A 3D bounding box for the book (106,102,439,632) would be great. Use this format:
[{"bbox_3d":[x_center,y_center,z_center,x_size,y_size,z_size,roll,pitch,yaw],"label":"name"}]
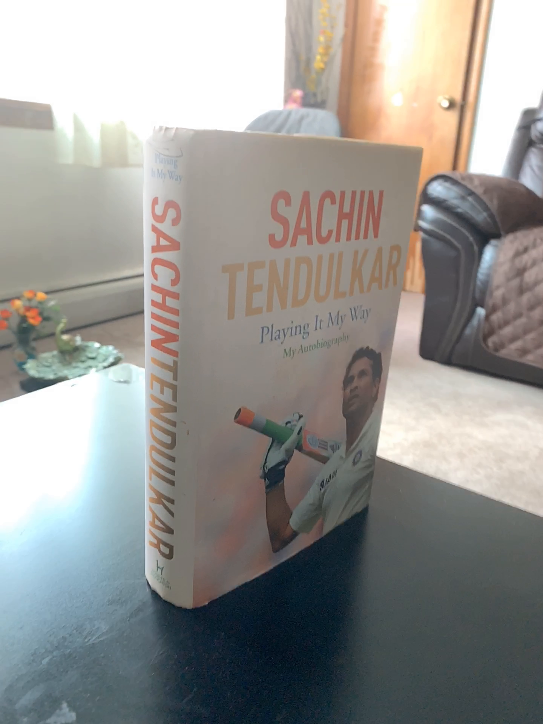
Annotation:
[{"bbox_3d":[0.006,-0.006,0.315,0.171,0.239,0.060,-16,27,-42],"label":"book"}]
